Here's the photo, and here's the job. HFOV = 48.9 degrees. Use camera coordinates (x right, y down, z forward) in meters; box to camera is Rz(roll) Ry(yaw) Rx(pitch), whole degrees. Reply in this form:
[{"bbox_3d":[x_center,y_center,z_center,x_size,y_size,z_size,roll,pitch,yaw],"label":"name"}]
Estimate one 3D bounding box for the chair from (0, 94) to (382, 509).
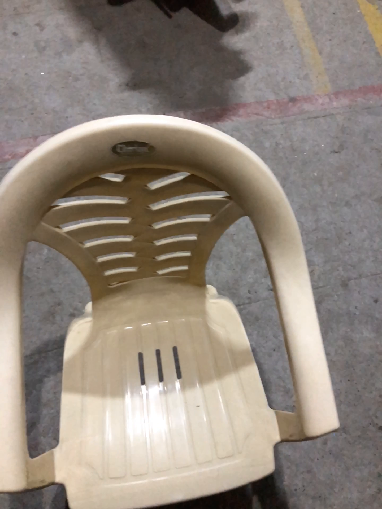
[{"bbox_3d":[-0.066,0.217,0.805,0.560,0.868,0.561,-5,75,-7],"label":"chair"}]
